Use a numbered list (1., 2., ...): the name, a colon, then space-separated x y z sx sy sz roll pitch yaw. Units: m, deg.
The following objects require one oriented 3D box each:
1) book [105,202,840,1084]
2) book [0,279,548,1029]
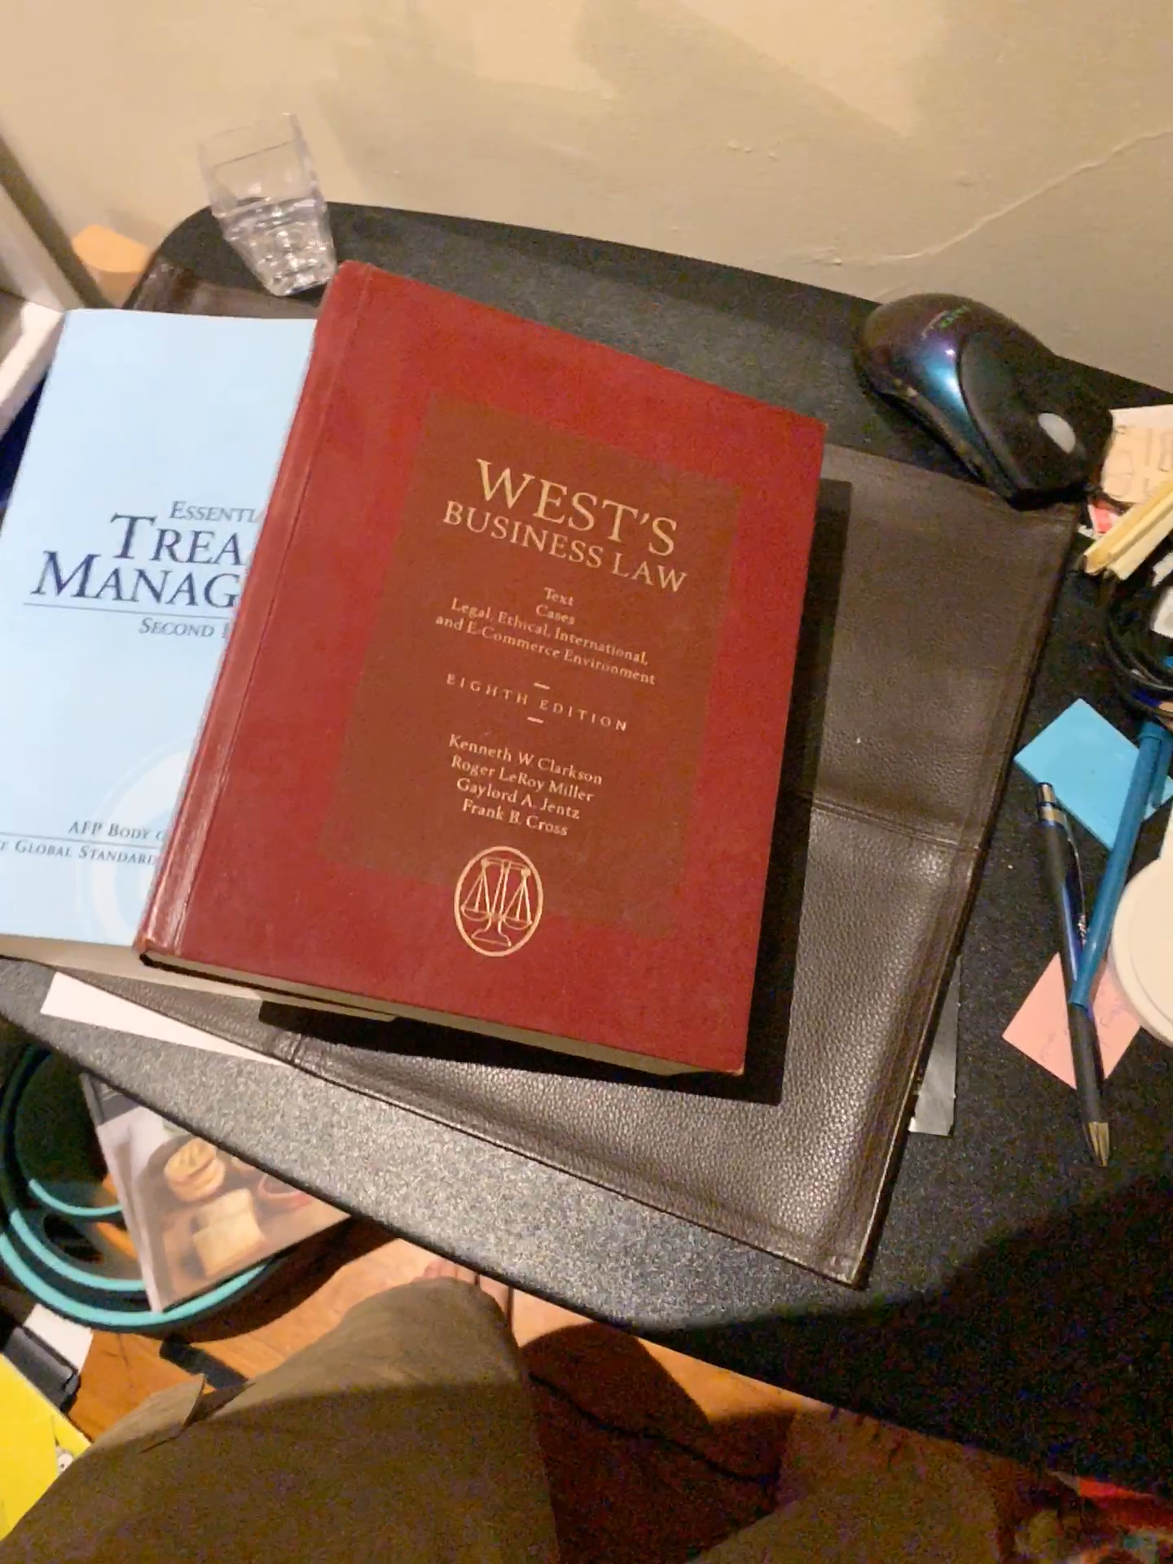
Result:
1. book: -0.026 -0.047 0.436 0.210 0.050 0.270 15 71 -15
2. book: -0.151 -0.059 0.481 0.220 0.070 0.270 7 72 9
